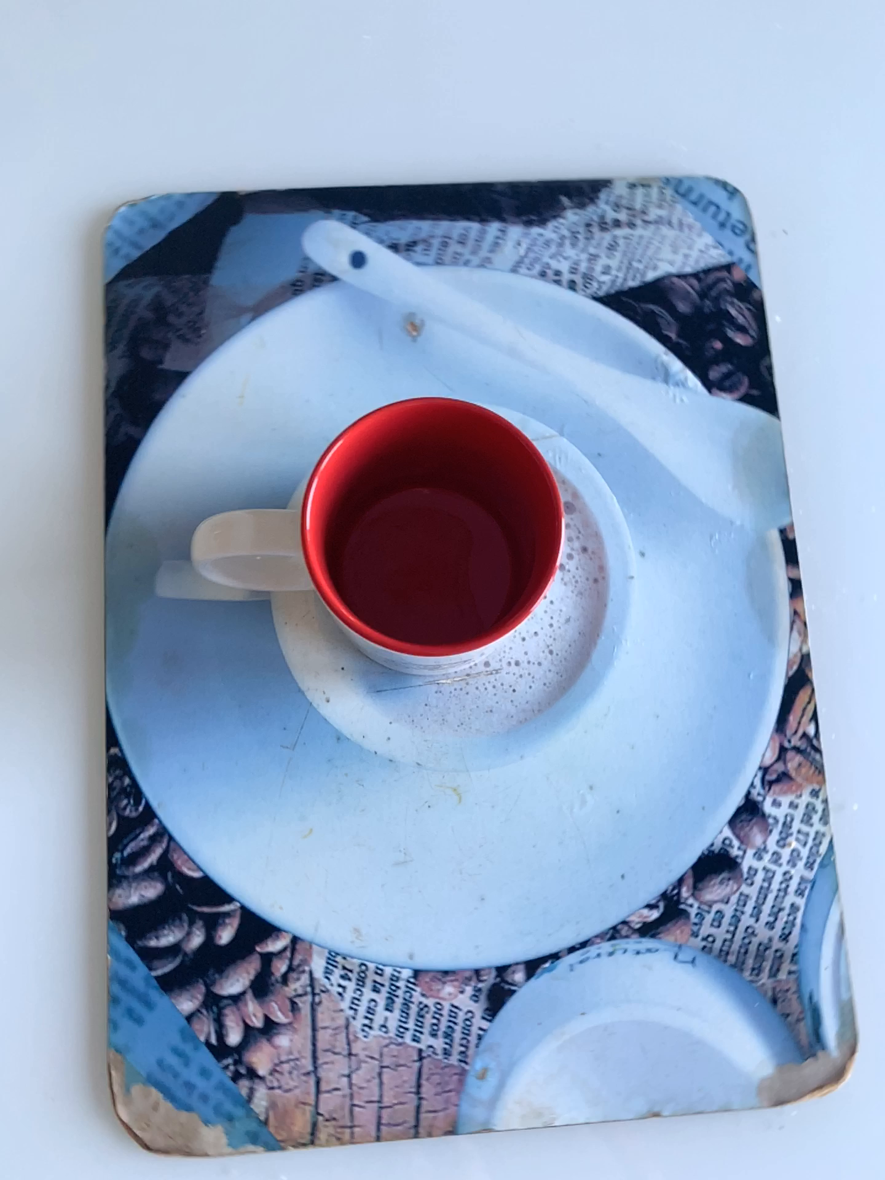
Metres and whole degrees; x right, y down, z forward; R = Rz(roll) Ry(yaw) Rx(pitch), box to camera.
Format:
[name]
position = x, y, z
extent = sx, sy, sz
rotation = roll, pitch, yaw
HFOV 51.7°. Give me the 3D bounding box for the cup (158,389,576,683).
[cup]
position = -0.024, -0.011, 0.318
extent = 0.117, 0.115, 0.077
rotation = -1, 81, -3
